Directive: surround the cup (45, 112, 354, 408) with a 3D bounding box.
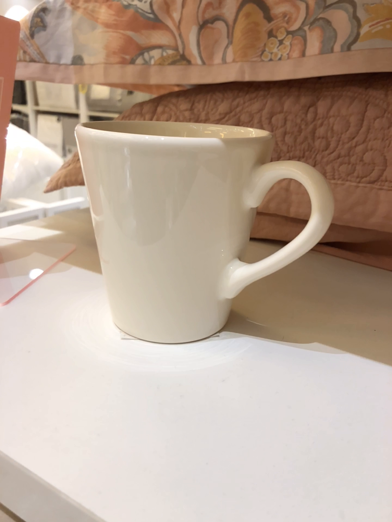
[{"bbox_3d":[0.005,-0.013,0.203,0.110,0.099,0.080,10,21,19],"label":"cup"}]
